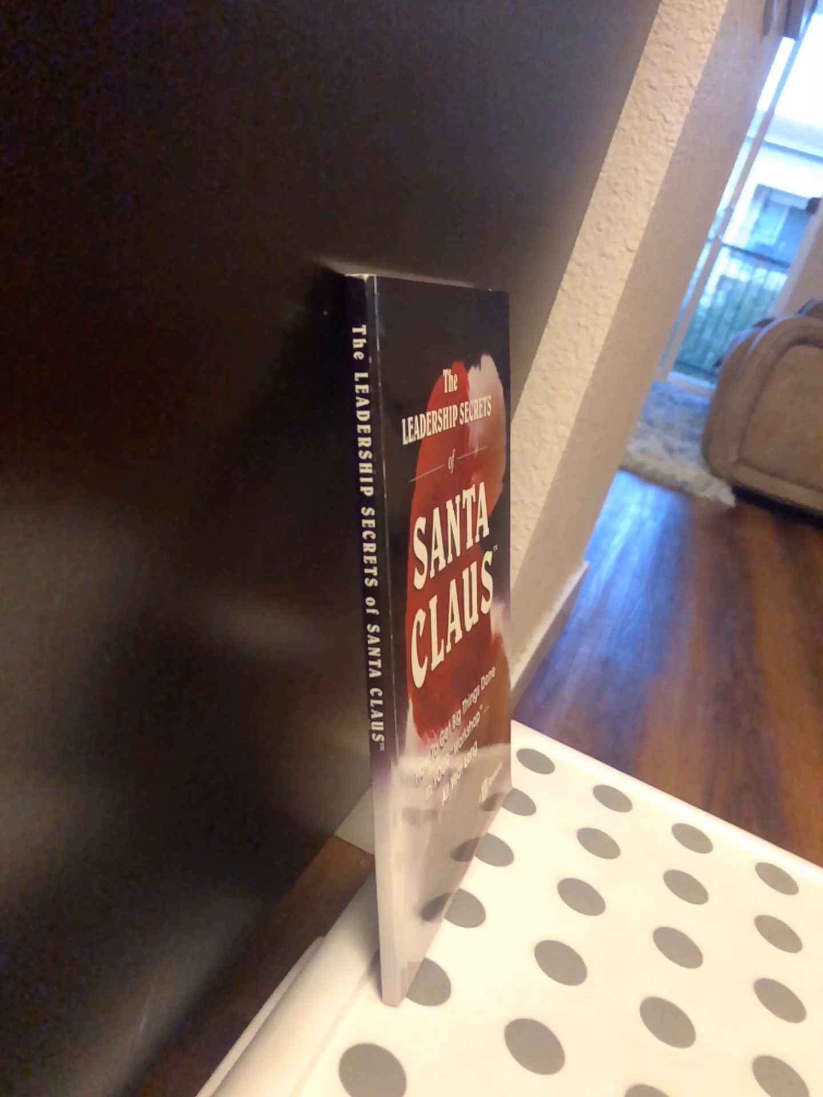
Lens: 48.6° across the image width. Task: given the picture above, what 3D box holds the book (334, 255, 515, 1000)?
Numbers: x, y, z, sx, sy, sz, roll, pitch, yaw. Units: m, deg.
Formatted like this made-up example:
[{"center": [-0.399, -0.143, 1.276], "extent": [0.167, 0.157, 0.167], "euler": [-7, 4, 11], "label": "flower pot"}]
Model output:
[{"center": [0.014, 0.014, 0.339], "extent": [0.010, 0.225, 0.161], "euler": [1, 13, 18], "label": "book"}]
